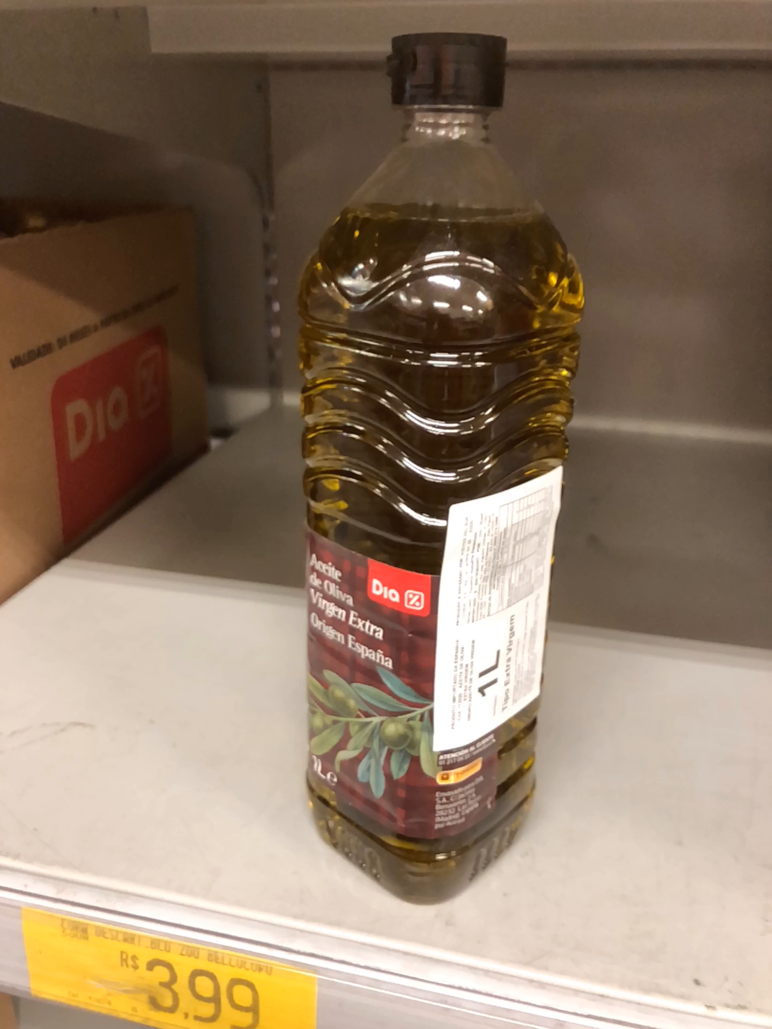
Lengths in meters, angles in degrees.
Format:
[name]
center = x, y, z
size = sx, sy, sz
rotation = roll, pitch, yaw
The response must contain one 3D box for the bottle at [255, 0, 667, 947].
[bottle]
center = 0.015, -0.005, 0.279
size = 0.080, 0.278, 0.070
rotation = 21, 30, 36
